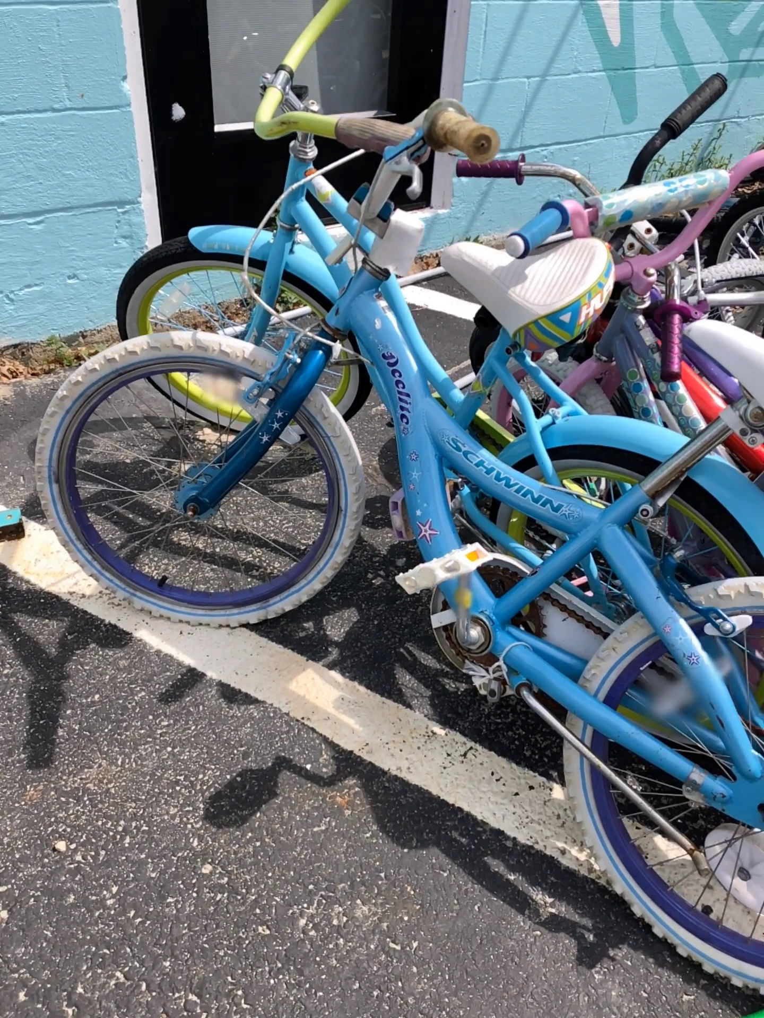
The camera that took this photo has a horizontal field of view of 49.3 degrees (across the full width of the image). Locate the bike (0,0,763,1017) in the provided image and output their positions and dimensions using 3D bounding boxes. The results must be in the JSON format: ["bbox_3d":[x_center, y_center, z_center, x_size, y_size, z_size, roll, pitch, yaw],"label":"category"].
[{"bbox_3d":[0.186,-0.115,0.978,1.267,0.777,0.558,26,40,19],"label":"bike"}]
